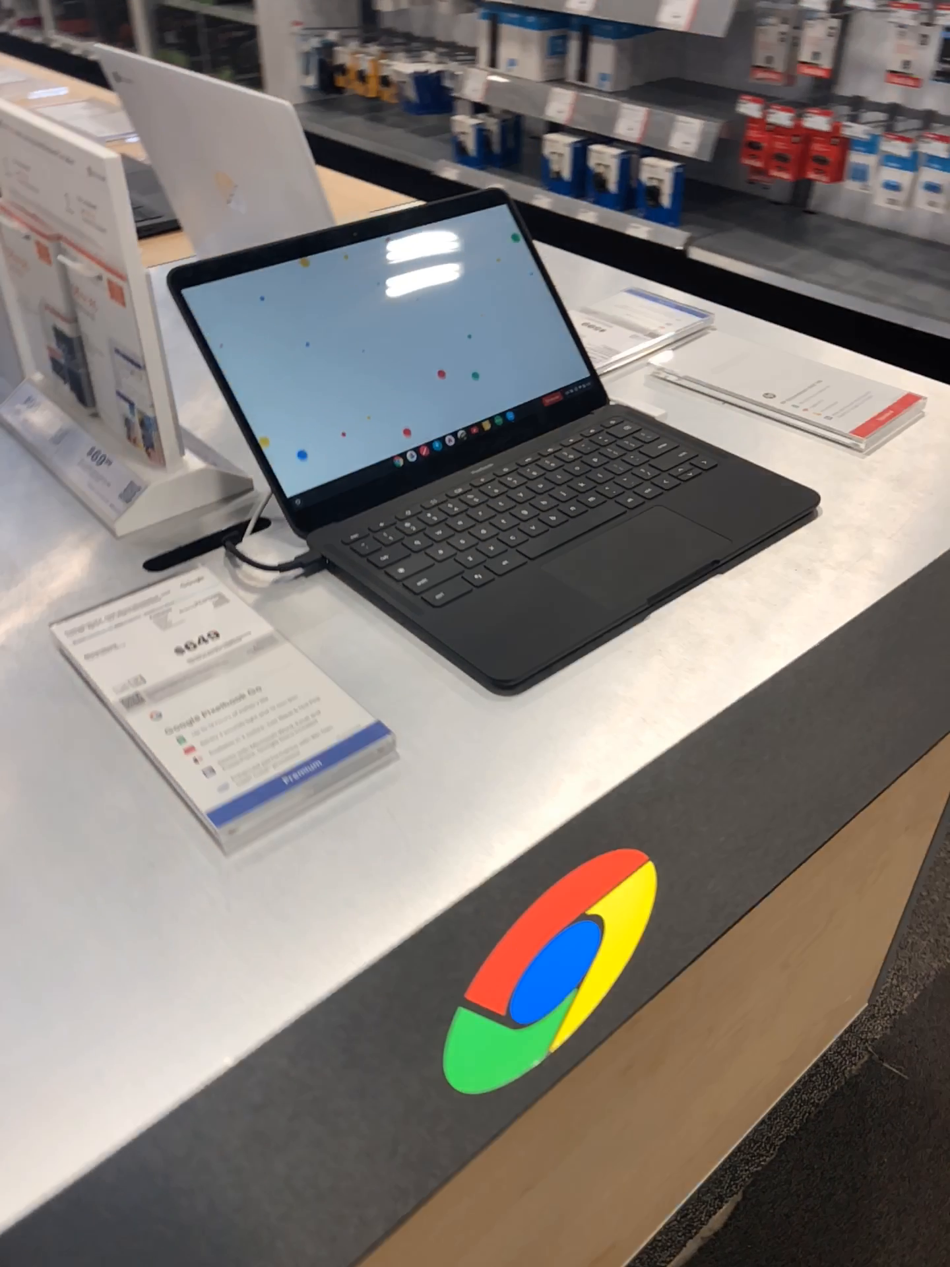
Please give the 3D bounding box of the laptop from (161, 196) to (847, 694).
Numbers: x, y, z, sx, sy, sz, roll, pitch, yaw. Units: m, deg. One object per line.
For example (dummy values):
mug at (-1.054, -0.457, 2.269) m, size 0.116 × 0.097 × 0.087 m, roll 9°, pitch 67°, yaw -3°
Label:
laptop at (0.011, -0.160, 0.705) m, size 0.294 × 0.134 × 0.336 m, roll -28°, pitch 47°, yaw -31°
